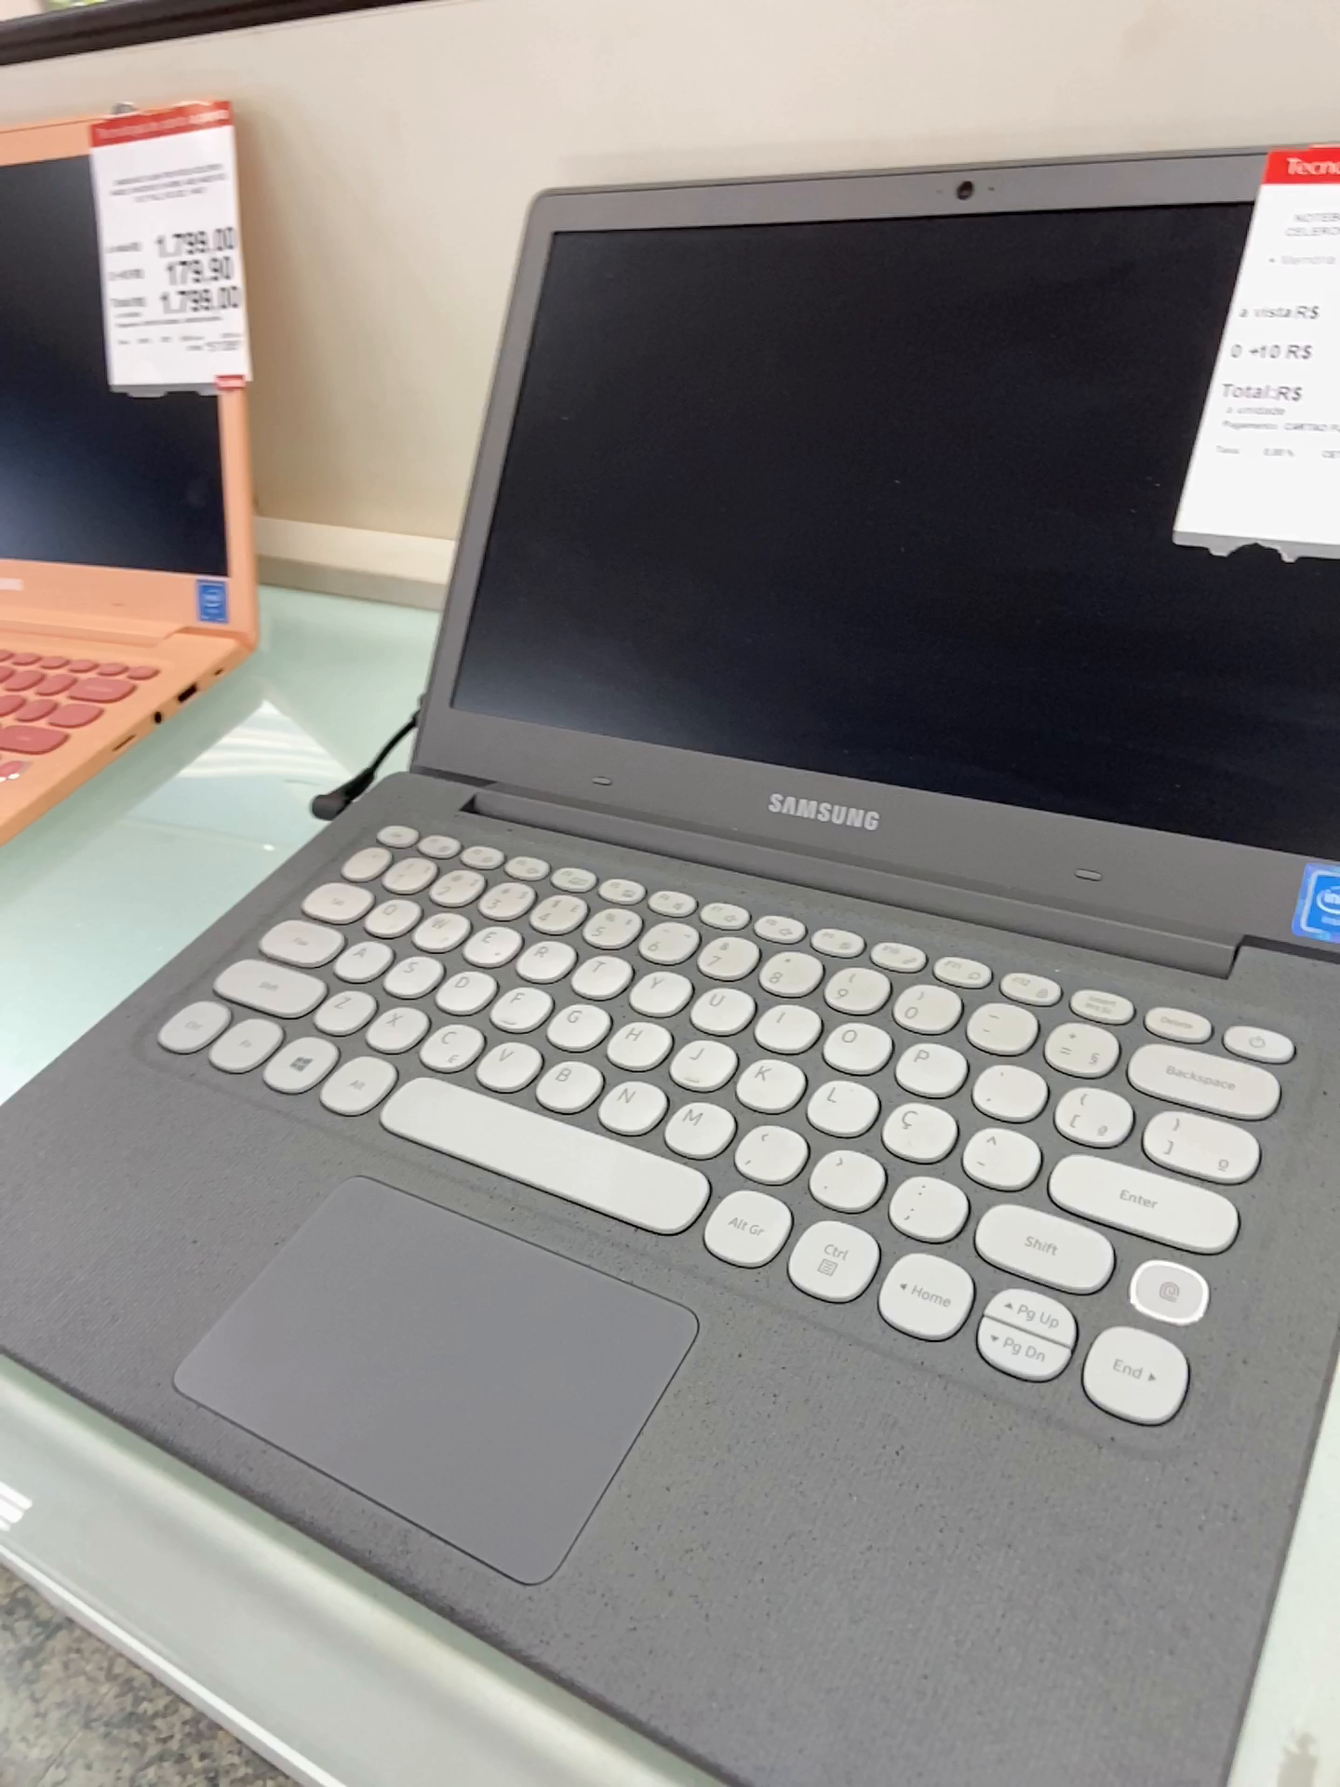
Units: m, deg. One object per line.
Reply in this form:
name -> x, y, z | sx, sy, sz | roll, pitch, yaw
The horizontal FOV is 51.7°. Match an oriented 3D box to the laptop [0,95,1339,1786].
laptop -> 0.010, -0.049, 0.335 | 0.320, 0.144, 0.365 | 13, 45, 30
